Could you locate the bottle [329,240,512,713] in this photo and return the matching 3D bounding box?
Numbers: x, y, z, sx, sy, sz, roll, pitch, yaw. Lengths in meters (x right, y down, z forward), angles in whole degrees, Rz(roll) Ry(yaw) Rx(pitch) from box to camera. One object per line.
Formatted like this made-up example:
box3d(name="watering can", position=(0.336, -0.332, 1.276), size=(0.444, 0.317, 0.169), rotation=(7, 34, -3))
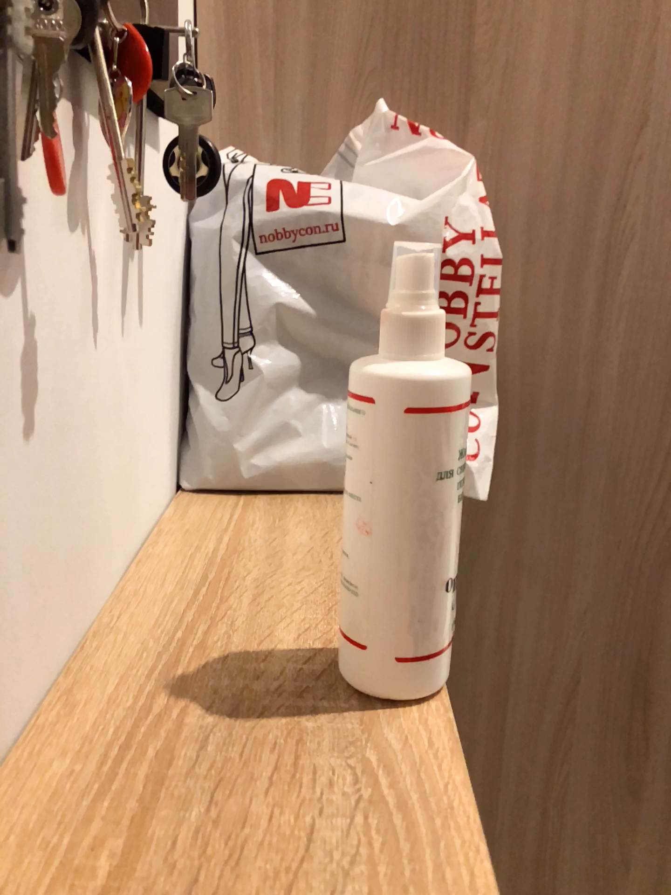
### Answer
box3d(name="bottle", position=(0.032, 0.010, 0.306), size=(0.059, 0.183, 0.056), rotation=(1, 14, 0))
